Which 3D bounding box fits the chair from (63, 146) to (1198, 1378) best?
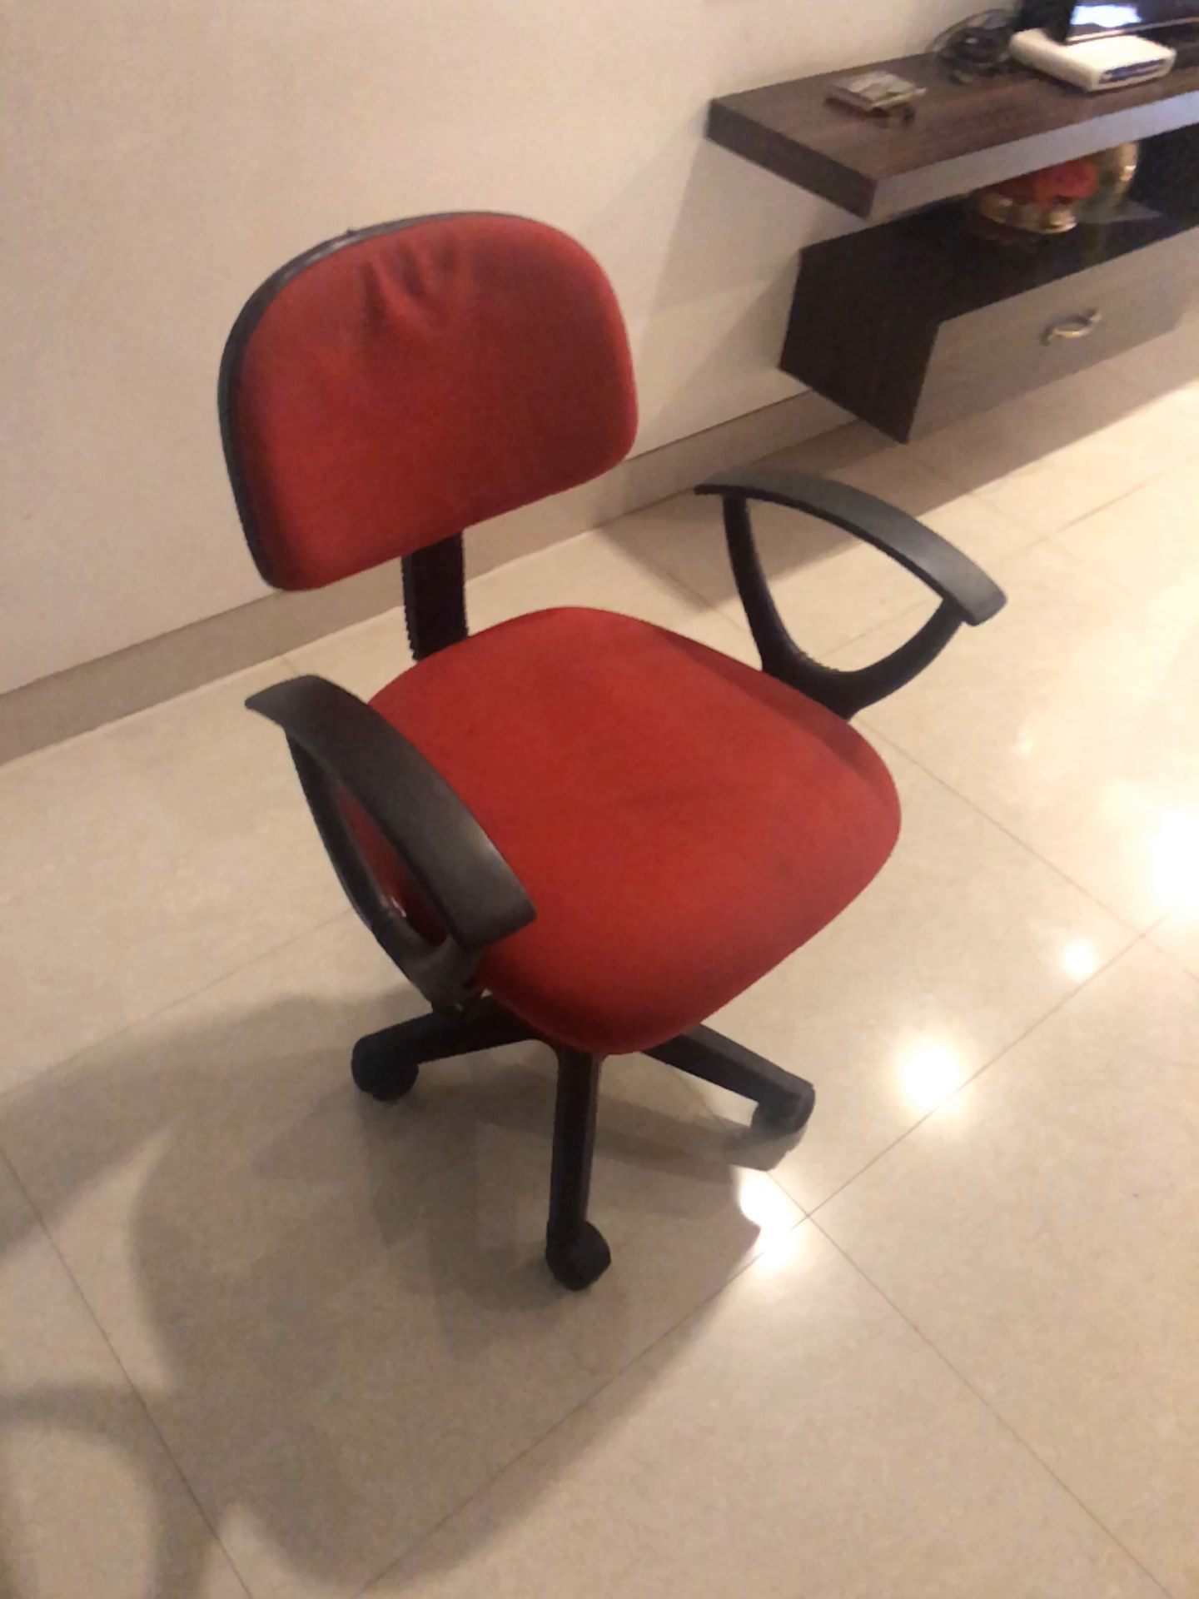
[{"bbox_3d":[0.001,-0.044,1.155,0.542,0.725,0.602,-30,56,-31],"label":"chair"}]
